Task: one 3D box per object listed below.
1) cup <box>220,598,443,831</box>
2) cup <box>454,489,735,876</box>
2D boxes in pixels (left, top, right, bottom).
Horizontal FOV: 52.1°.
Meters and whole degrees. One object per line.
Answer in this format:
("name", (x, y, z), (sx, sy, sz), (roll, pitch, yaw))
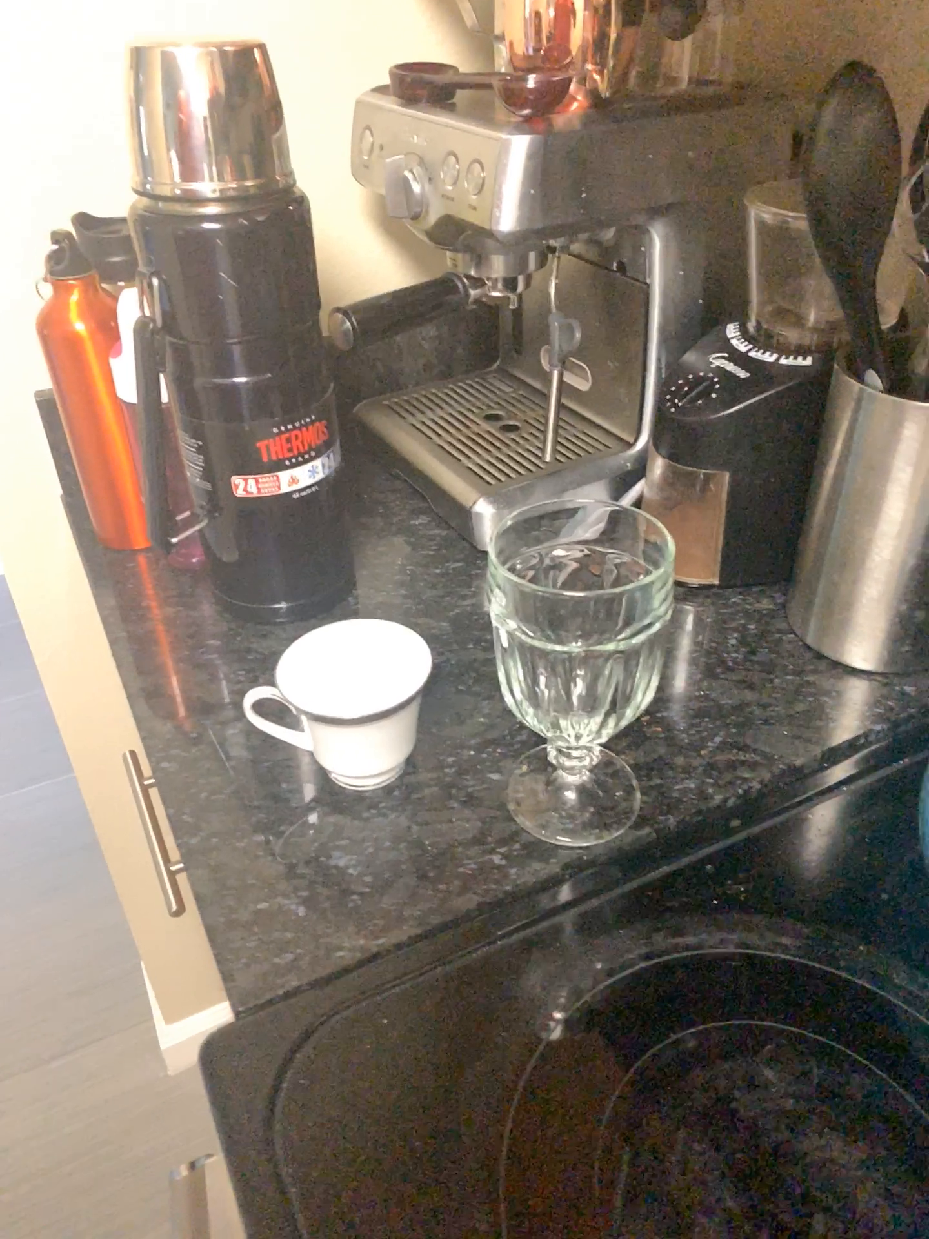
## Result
("cup", (-0.080, 0.053, 0.561), (0.110, 0.070, 0.101), (-1, 35, 1))
("cup", (0.063, 0.034, 0.523), (0.110, 0.169, 0.101), (-1, 35, 1))
